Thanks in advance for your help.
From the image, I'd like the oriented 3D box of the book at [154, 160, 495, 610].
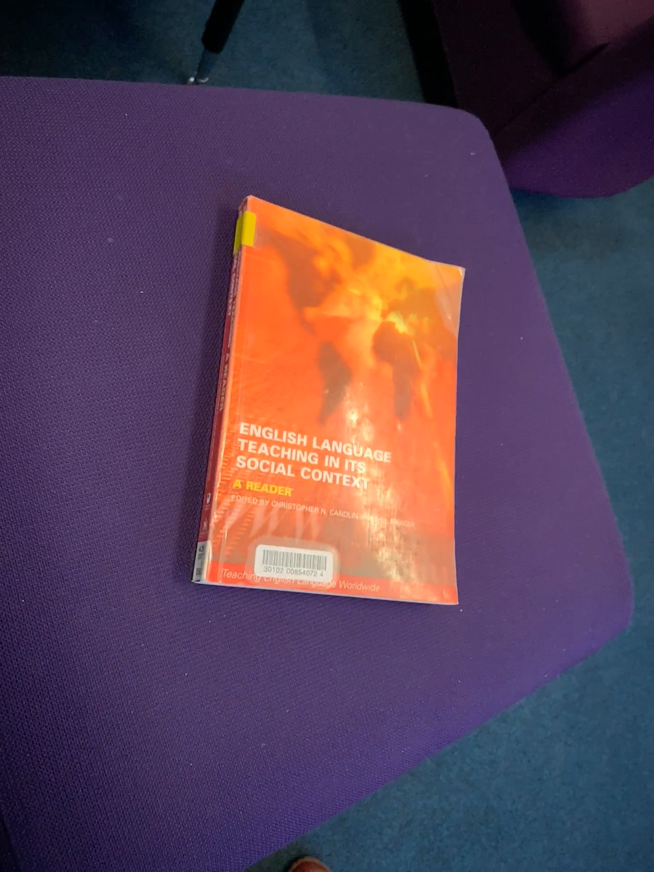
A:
[{"bbox_3d":[0.012,-0.025,0.469,0.220,0.050,0.271,11,71,-26],"label":"book"}]
